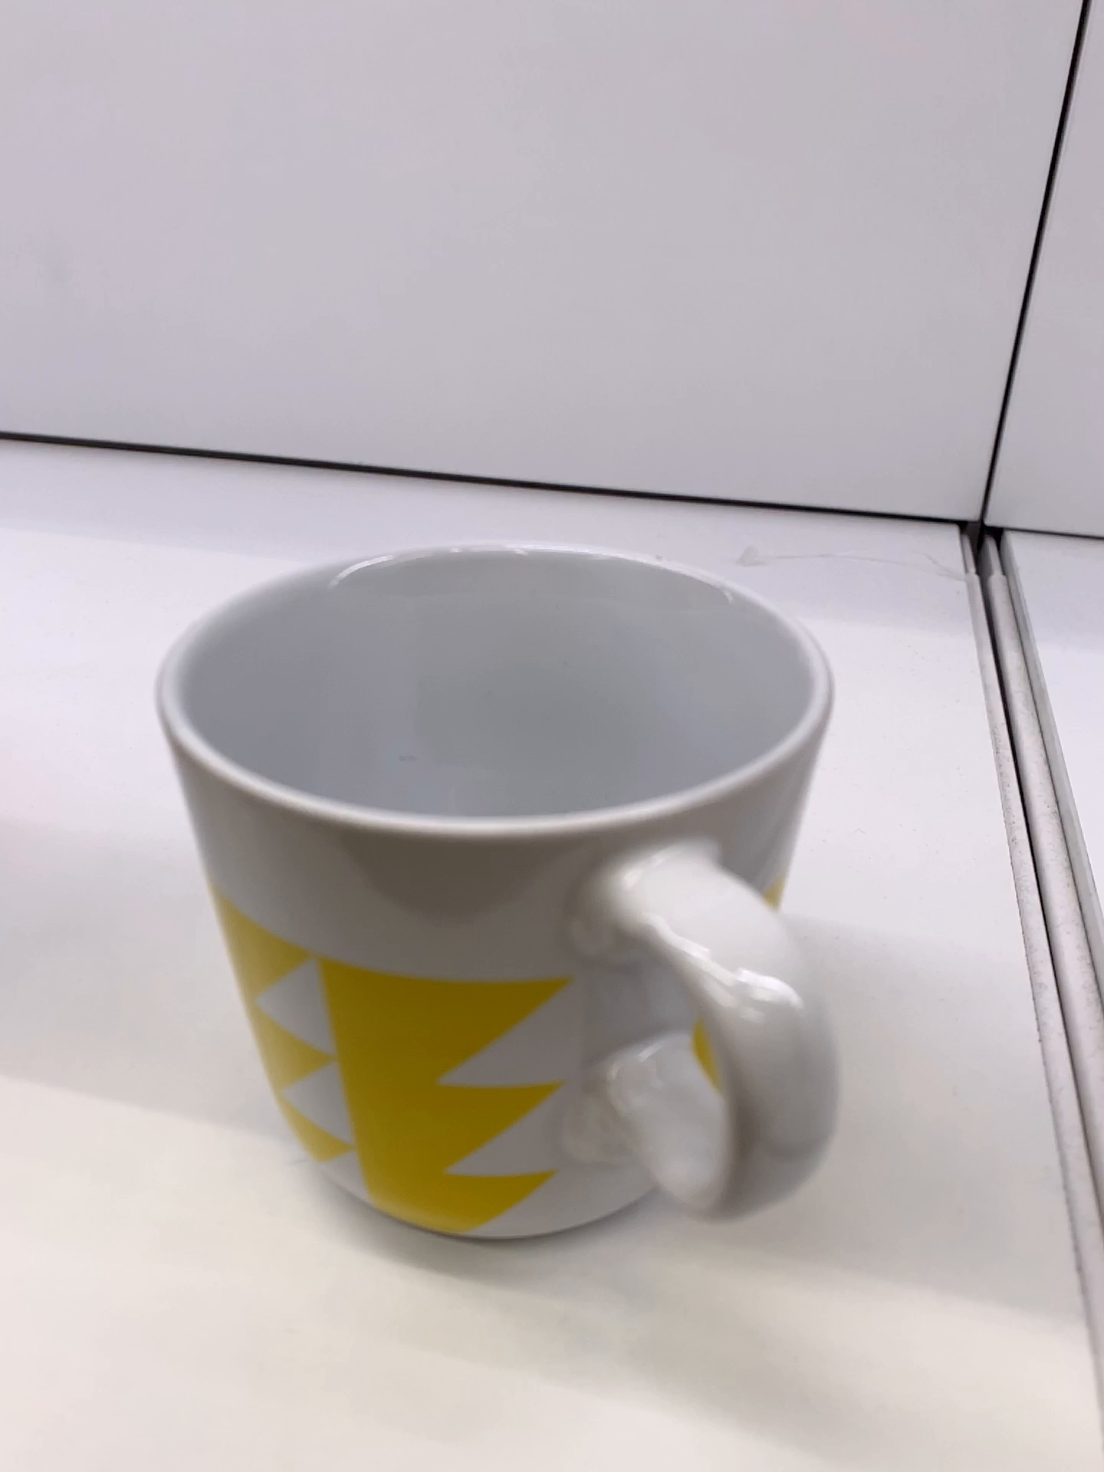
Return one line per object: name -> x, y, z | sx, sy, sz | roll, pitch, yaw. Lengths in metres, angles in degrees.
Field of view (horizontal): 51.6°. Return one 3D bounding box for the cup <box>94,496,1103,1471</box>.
cup -> -0.002, 0.020, 0.146 | 0.084, 0.065, 0.108 | -12, 31, -23
